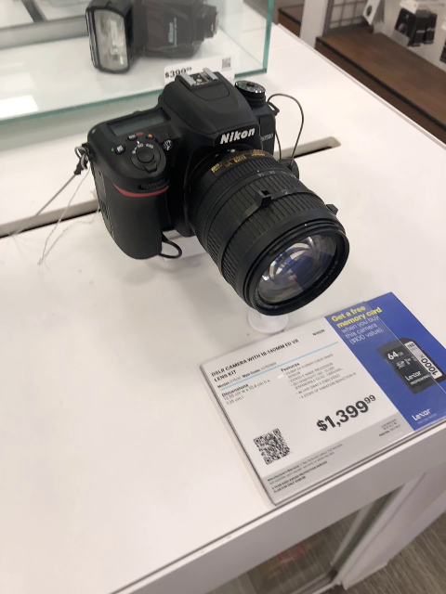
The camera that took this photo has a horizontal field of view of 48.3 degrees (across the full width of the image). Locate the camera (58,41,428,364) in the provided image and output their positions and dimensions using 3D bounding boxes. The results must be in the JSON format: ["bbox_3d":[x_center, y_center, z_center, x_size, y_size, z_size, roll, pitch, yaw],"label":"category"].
[{"bbox_3d":[0.004,-0.078,0.342,0.160,0.100,0.171,-24,54,-21],"label":"camera"}]
